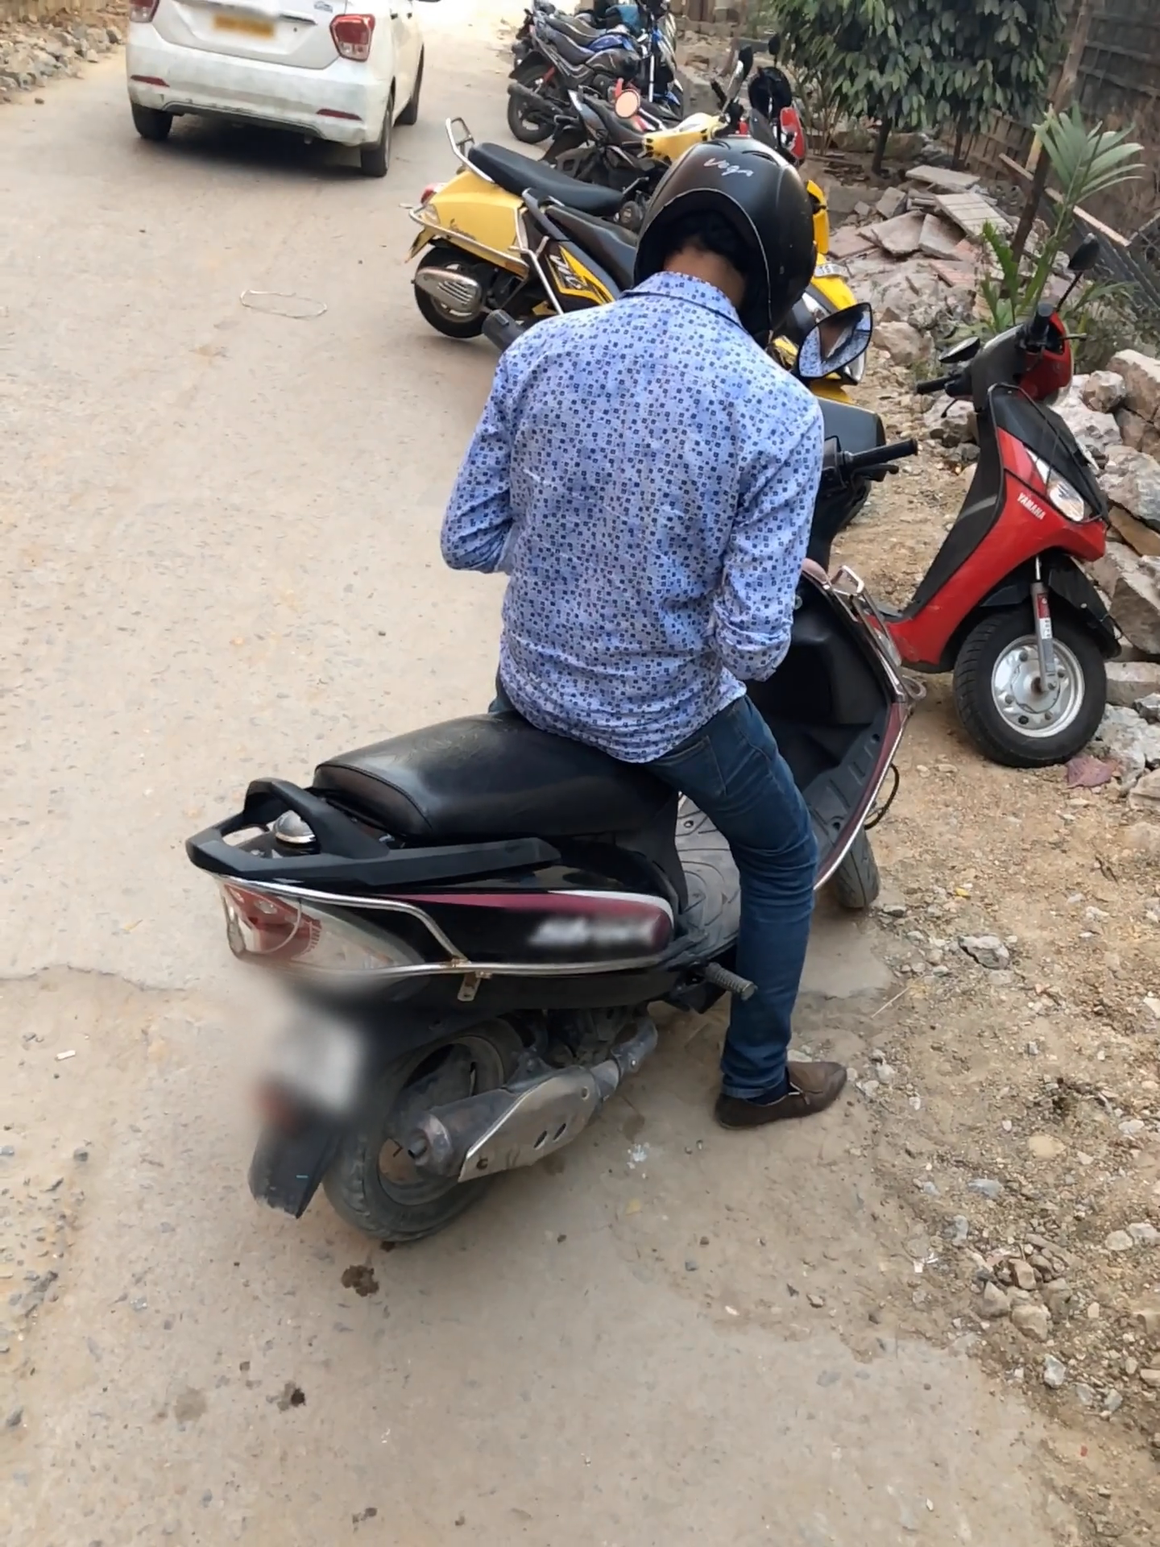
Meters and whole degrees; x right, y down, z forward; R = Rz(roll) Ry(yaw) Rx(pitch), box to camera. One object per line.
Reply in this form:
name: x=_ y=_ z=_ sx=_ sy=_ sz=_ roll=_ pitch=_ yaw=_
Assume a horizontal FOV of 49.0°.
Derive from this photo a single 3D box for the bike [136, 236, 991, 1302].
bike: x=0.021 y=-0.153 z=2.186 sx=0.560 sy=1.054 sz=1.480 roll=26 pitch=40 yaw=24
